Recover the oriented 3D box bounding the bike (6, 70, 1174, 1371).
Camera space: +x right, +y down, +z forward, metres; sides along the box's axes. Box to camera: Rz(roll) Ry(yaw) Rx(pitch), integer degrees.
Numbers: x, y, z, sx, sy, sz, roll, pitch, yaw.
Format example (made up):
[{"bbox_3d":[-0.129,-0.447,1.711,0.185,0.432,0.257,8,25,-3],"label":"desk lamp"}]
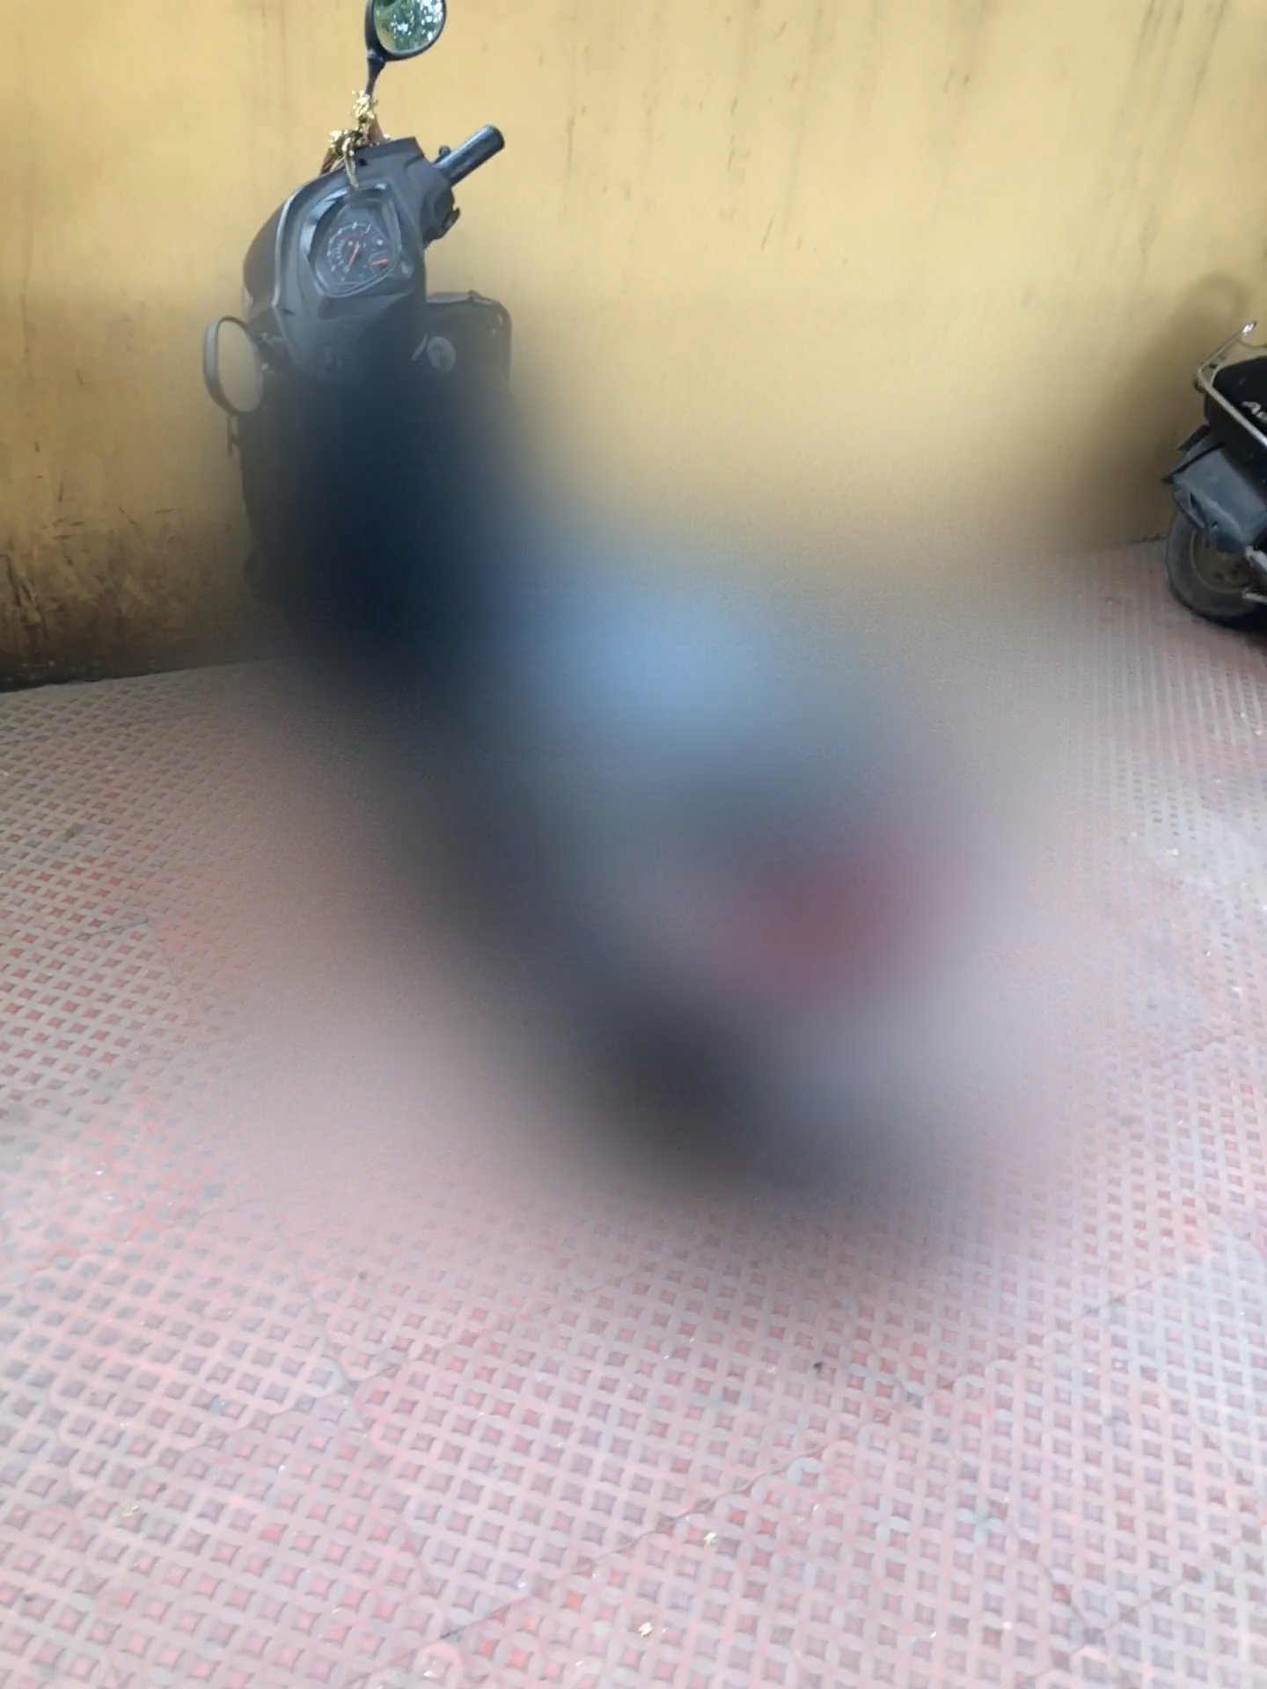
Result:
[{"bbox_3d":[-0.260,-0.333,1.905,0.594,1.044,1.589,-17,41,-32],"label":"bike"}]
